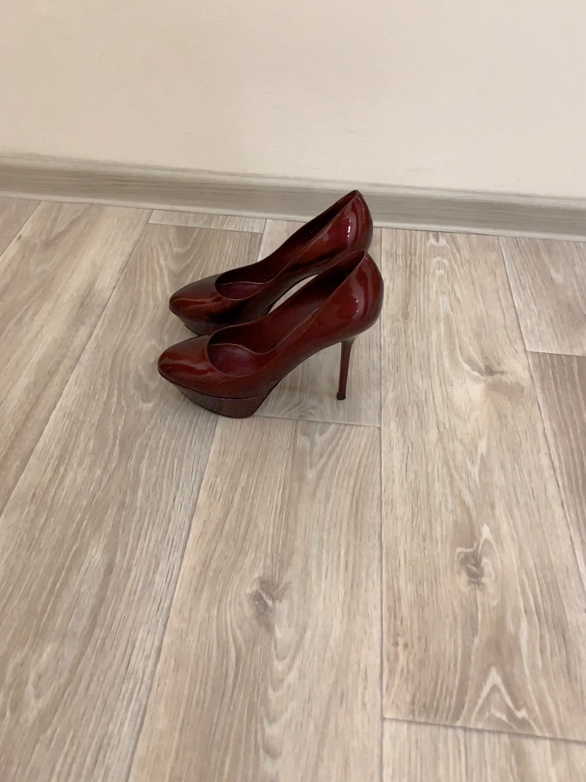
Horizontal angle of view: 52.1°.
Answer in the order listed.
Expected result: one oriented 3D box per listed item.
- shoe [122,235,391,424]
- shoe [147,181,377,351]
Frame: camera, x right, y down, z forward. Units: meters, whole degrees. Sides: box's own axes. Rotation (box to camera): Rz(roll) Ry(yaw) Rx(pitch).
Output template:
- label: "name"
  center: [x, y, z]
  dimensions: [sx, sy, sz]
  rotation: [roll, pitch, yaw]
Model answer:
- label: "shoe"
  center: [-0.032, -0.052, 0.553]
  dimensions: [0.210, 0.149, 0.087]
  rotation: [0, 45, -2]
- label: "shoe"
  center: [-0.033, -0.129, 0.632]
  dimensions: [0.210, 0.149, 0.087]
  rotation: [-1, 45, -4]
